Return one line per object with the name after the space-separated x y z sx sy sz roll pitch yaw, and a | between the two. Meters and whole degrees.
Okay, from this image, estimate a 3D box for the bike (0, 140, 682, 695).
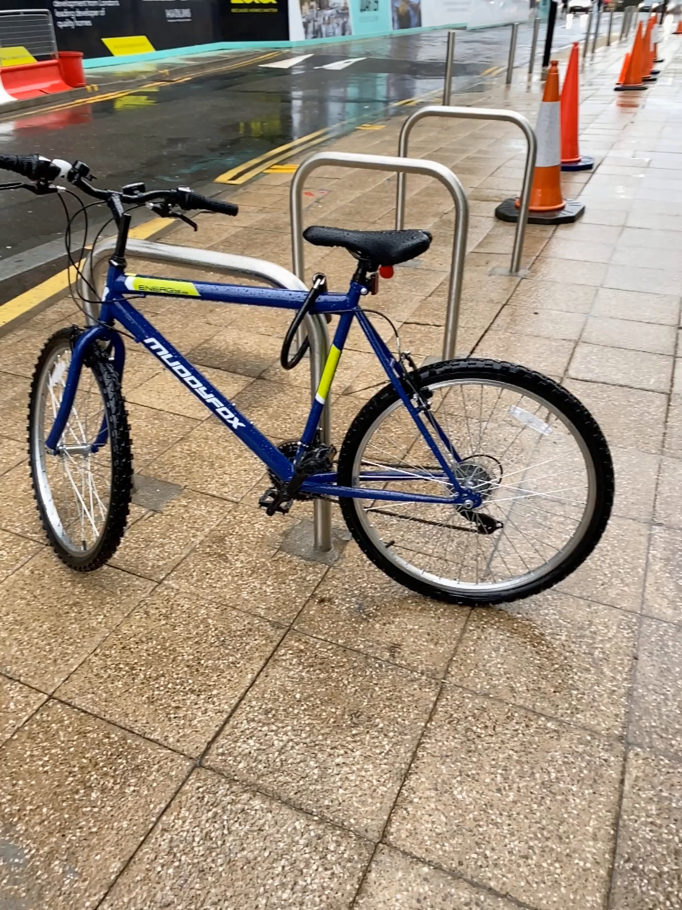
-0.145 -0.167 1.703 1.593 1.012 0.601 8 34 17 | bike
